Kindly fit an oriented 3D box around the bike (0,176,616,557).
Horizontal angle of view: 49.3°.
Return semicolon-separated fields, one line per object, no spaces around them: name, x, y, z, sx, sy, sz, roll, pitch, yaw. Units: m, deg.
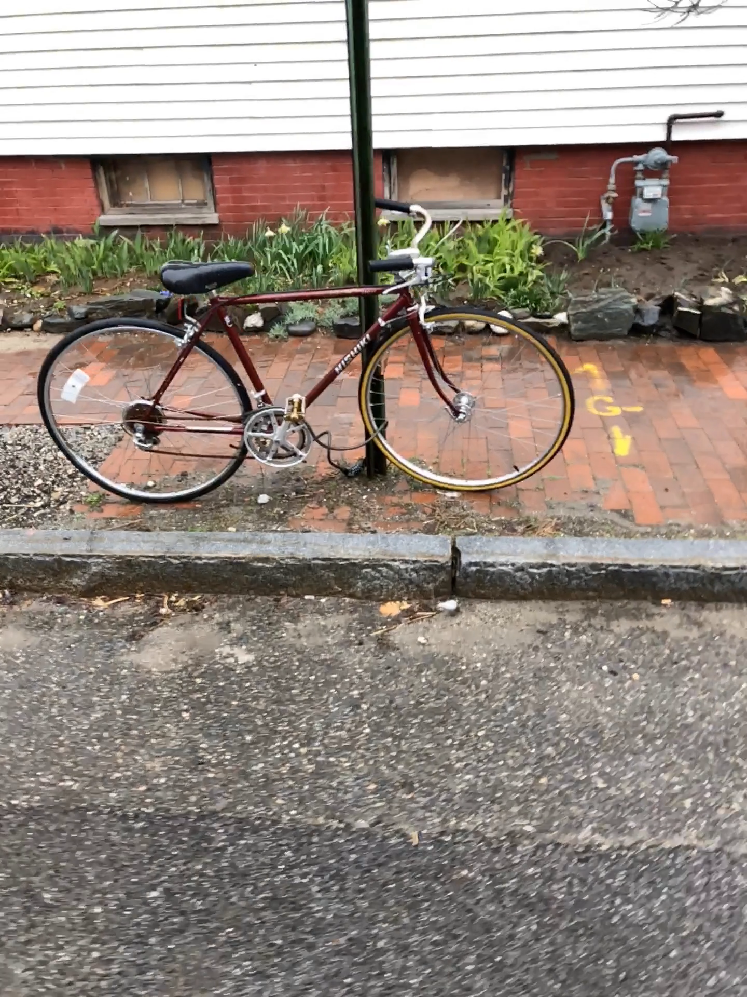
bike;-0.218;-0.367;2.379;1.604;0.907;0.502;-1;29;5
